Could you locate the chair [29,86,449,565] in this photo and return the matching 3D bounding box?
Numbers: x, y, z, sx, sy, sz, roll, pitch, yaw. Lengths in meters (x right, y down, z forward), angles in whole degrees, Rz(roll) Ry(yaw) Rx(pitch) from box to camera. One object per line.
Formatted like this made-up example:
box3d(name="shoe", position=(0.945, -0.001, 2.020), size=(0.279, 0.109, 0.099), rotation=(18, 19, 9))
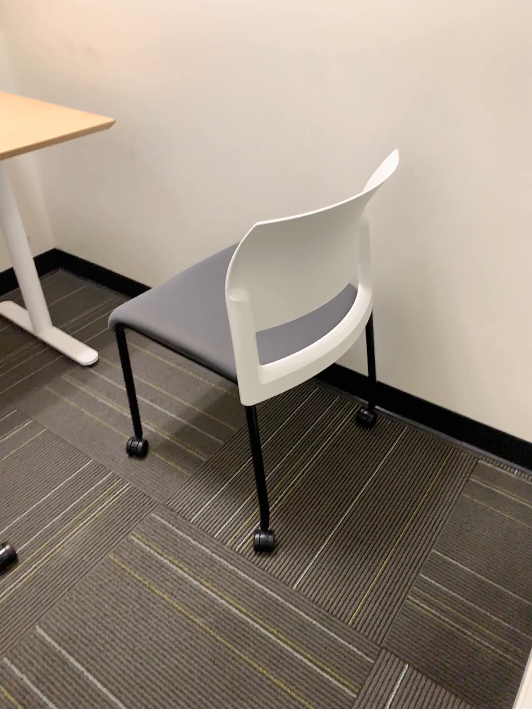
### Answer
box3d(name="chair", position=(-0.030, -0.101, 1.275), size=(0.542, 0.805, 0.602), rotation=(25, 44, 28))
